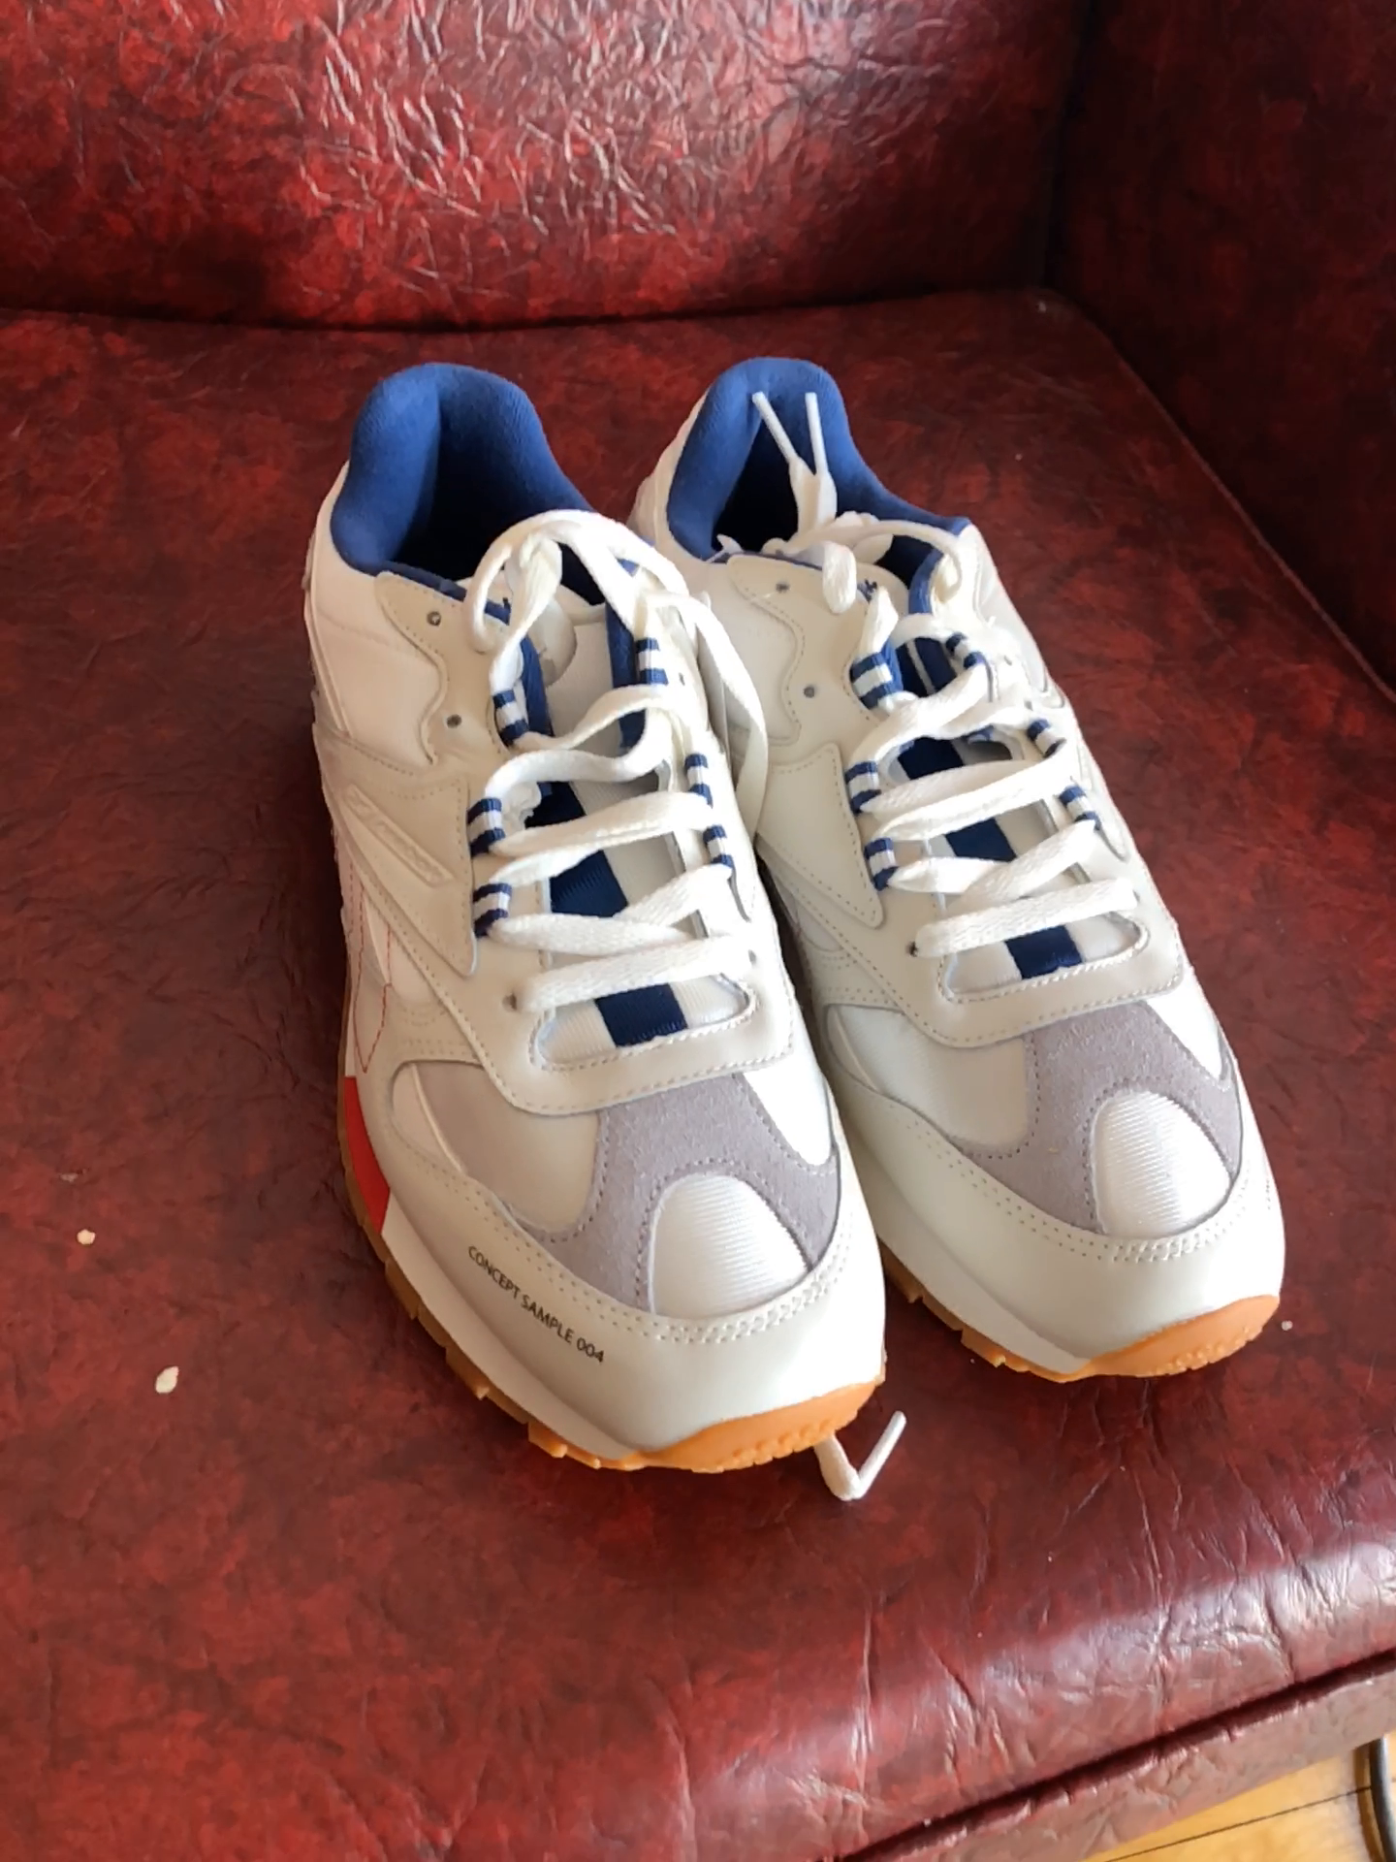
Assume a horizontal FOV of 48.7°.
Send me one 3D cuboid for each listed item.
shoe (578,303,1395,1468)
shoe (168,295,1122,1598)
[{"bbox_3d":[0.069,-0.029,0.386,0.110,0.099,0.271,-11,58,-20],"label":"shoe"},{"bbox_3d":[-0.034,-0.016,0.350,0.110,0.099,0.271,-11,58,-20],"label":"shoe"}]
